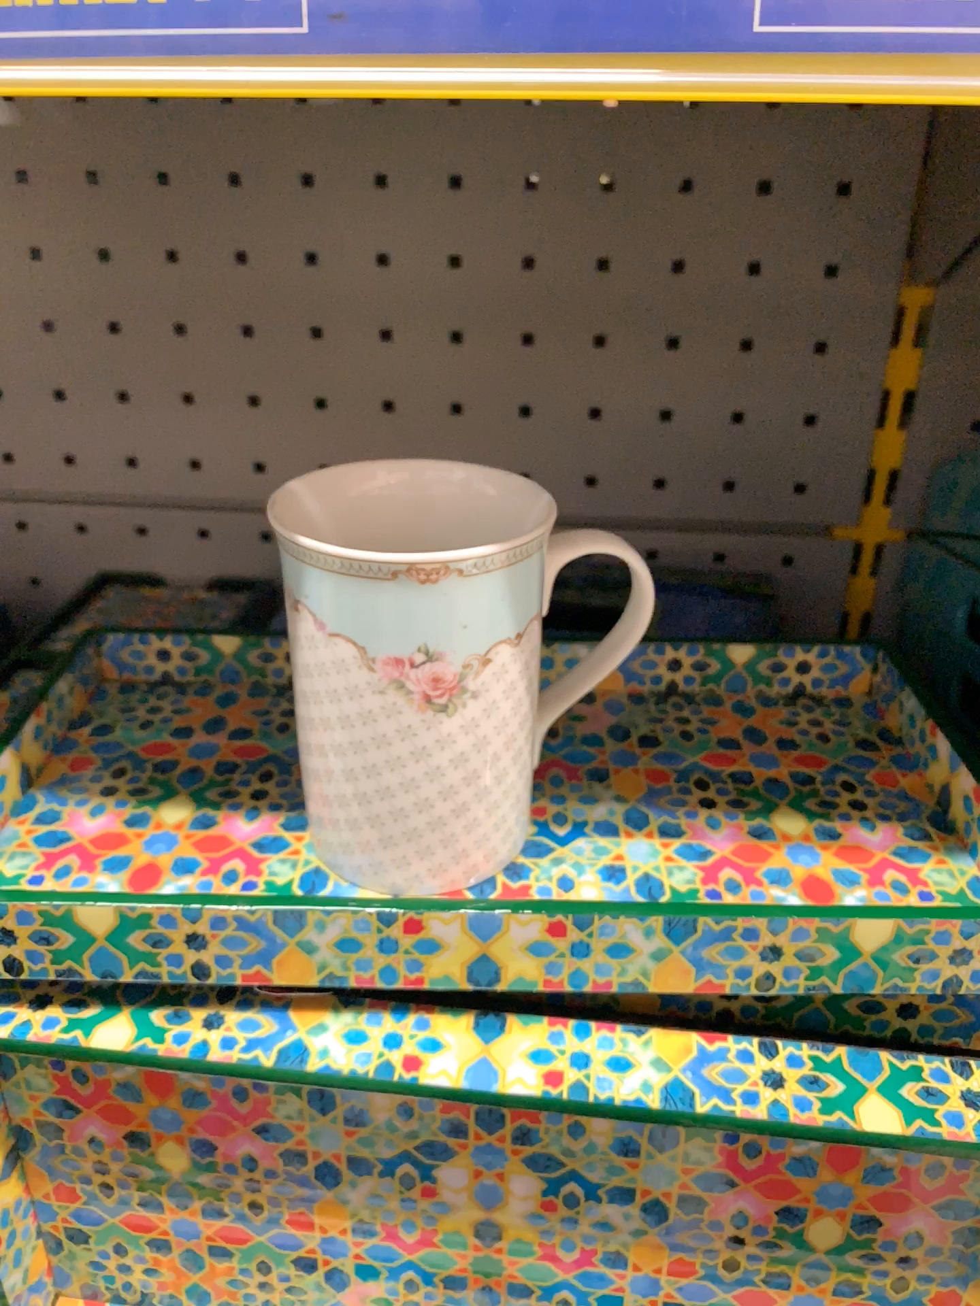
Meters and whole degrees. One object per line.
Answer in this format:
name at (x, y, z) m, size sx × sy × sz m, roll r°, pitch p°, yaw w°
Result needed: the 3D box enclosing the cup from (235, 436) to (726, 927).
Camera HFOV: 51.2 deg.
cup at (-0.006, 0.001, 0.298) m, size 0.110 × 0.100 × 0.080 m, roll -11°, pitch 29°, yaw -21°
